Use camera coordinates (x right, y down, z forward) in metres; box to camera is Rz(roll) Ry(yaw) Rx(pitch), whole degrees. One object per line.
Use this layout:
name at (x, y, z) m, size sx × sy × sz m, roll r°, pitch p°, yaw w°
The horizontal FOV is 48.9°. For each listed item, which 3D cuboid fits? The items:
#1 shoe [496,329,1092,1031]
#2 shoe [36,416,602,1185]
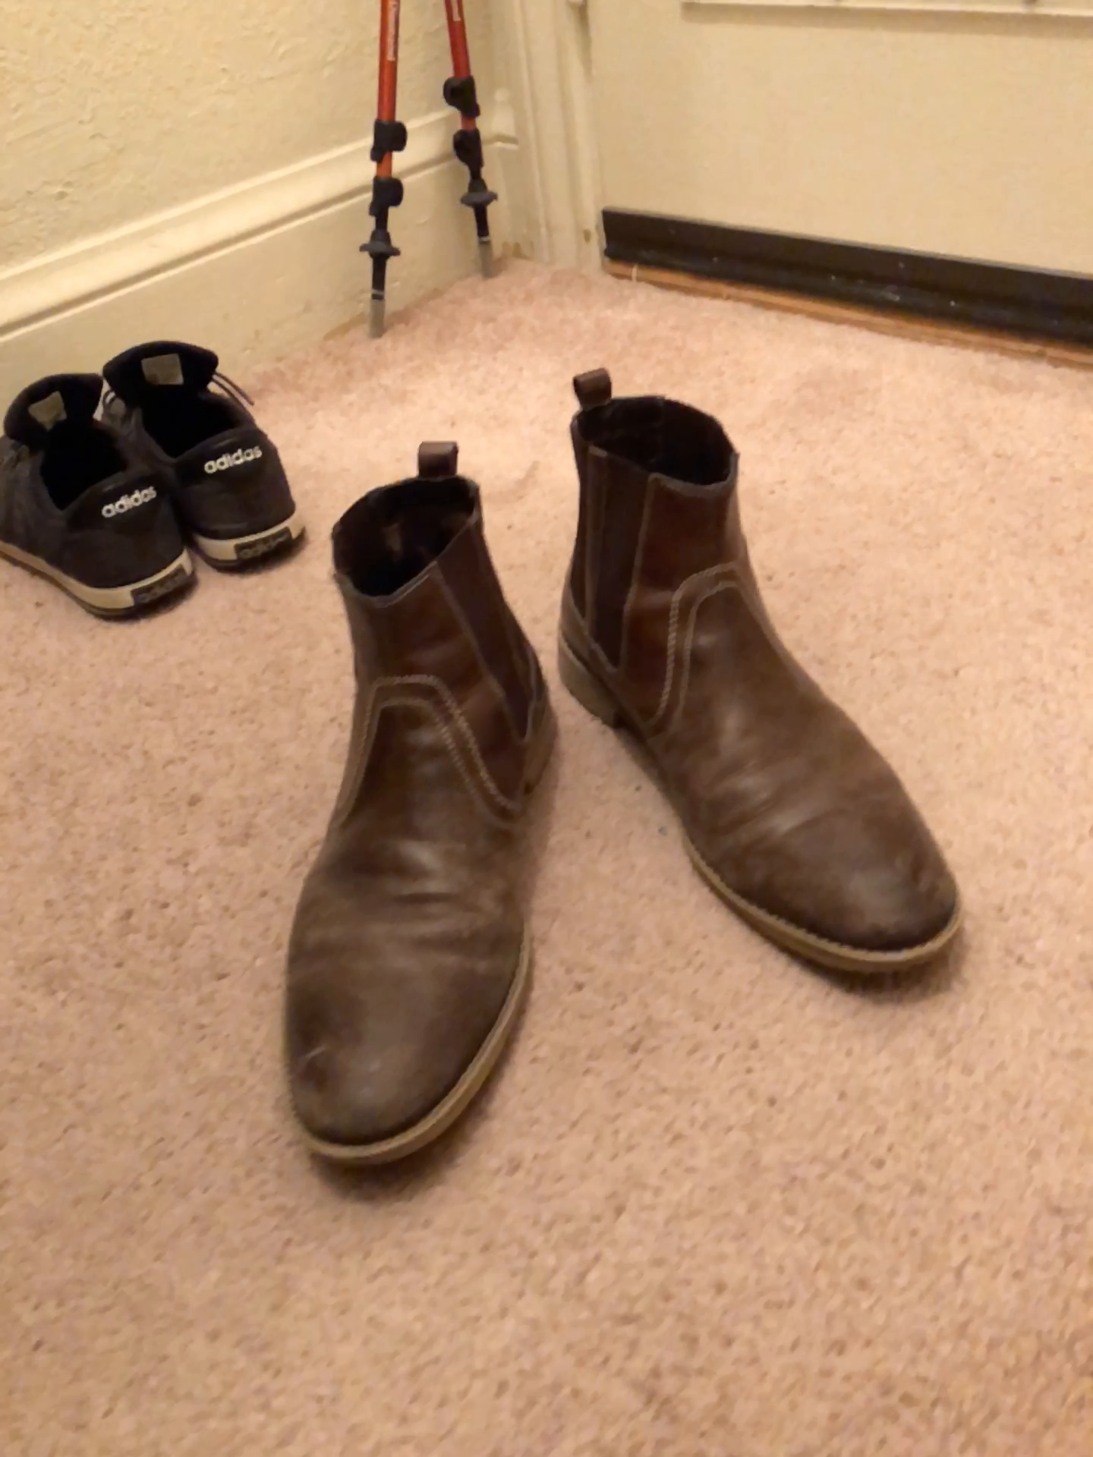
shoe at (0.091, -0.044, 0.550) m, size 0.119 × 0.158 × 0.299 m, roll -18°, pitch 40°, yaw -11°
shoe at (-0.062, 0.009, 0.515) m, size 0.118 × 0.158 × 0.299 m, roll 1°, pitch 40°, yaw 12°
